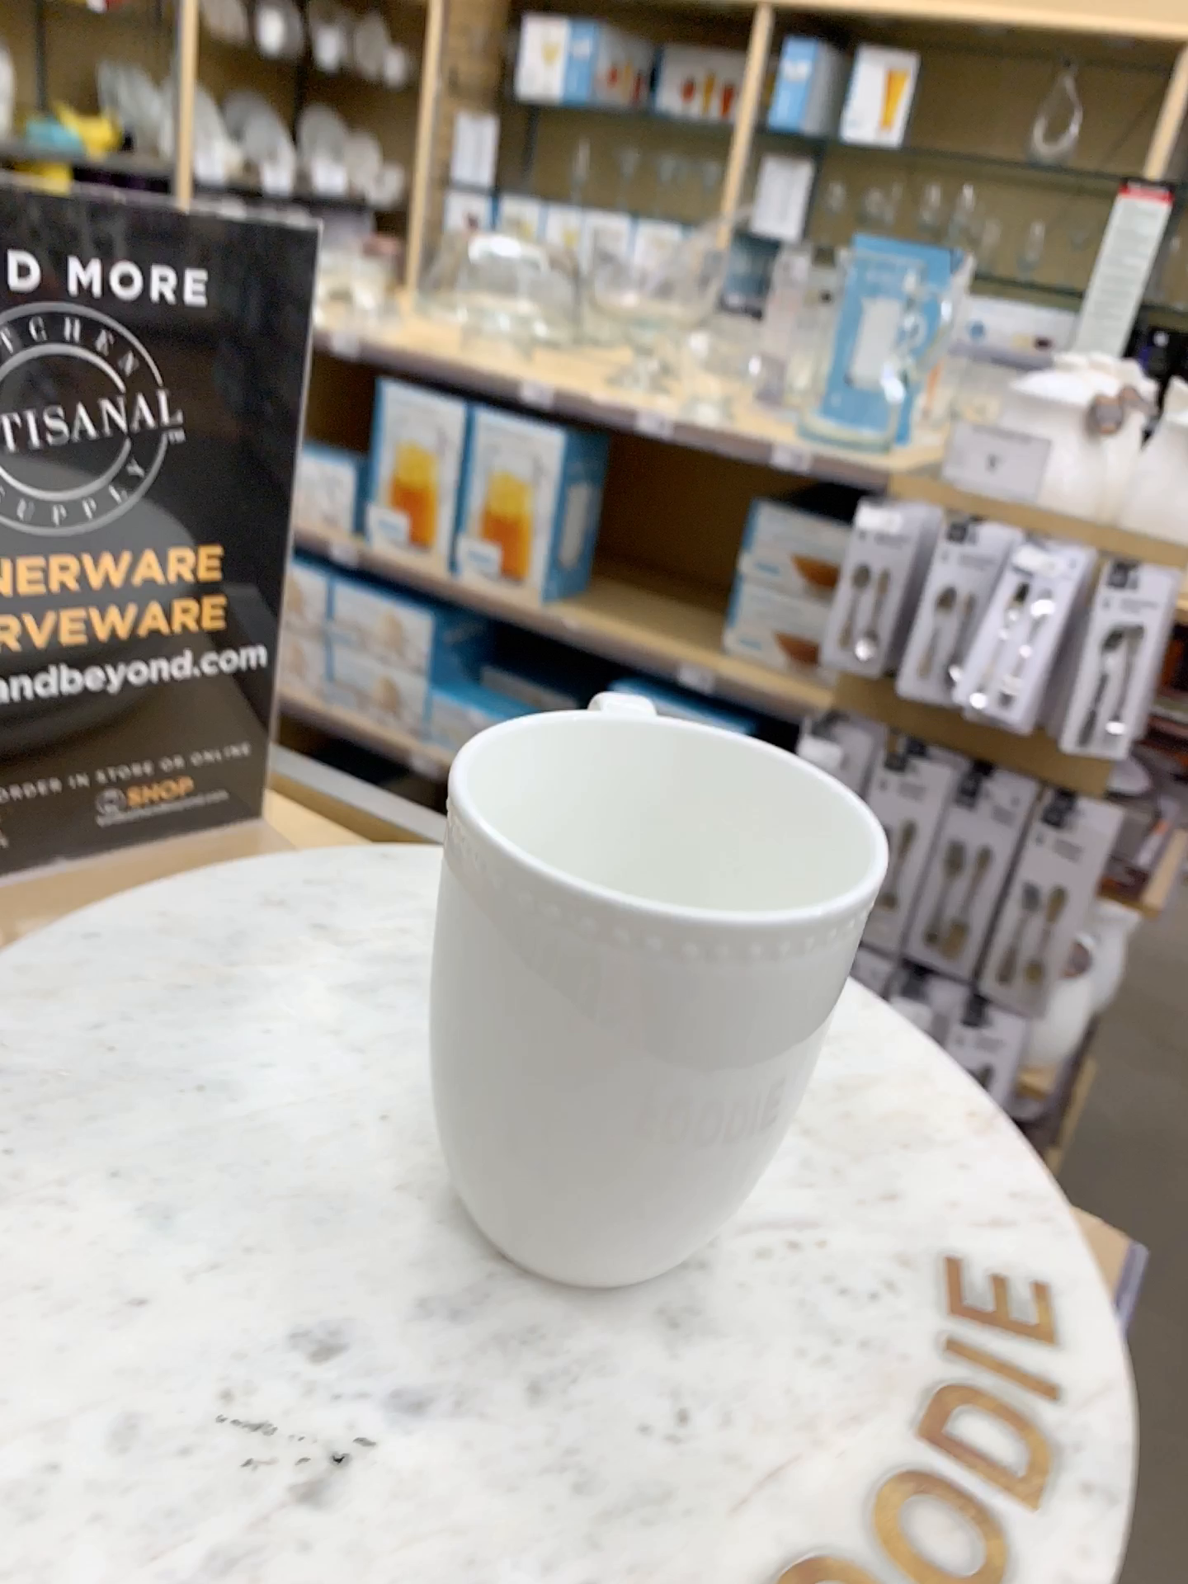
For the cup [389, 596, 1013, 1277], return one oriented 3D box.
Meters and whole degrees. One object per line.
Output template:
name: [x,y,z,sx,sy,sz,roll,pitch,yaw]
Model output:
cup: [0.008,0.024,0.280,0.096,0.094,0.125,4,26,-13]
